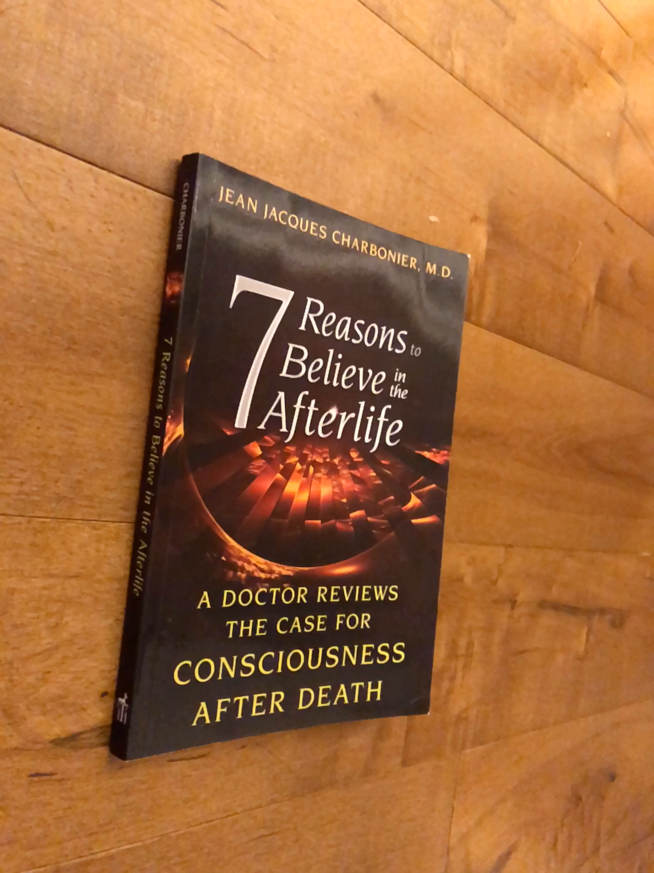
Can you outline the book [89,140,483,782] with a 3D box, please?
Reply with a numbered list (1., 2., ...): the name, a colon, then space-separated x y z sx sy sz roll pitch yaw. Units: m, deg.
1. book: -0.008 0.017 0.343 0.171 0.030 0.250 8 88 -37
